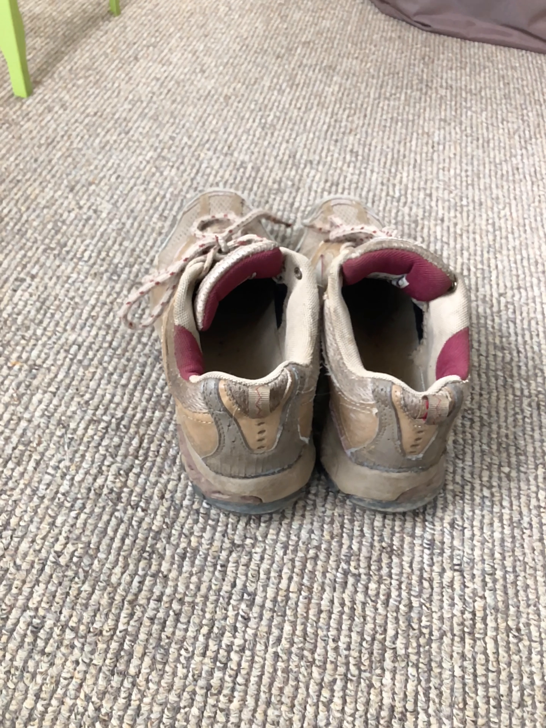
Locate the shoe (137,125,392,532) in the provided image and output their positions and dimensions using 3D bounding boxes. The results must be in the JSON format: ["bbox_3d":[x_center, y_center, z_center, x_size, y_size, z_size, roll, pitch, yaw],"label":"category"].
[{"bbox_3d":[-0.027,-0.042,0.426,0.111,0.118,0.271,-5,51,-13],"label":"shoe"}]

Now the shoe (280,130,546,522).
[{"bbox_3d":[0.078,-0.039,0.445,0.112,0.123,0.273,2,50,-8],"label":"shoe"}]
